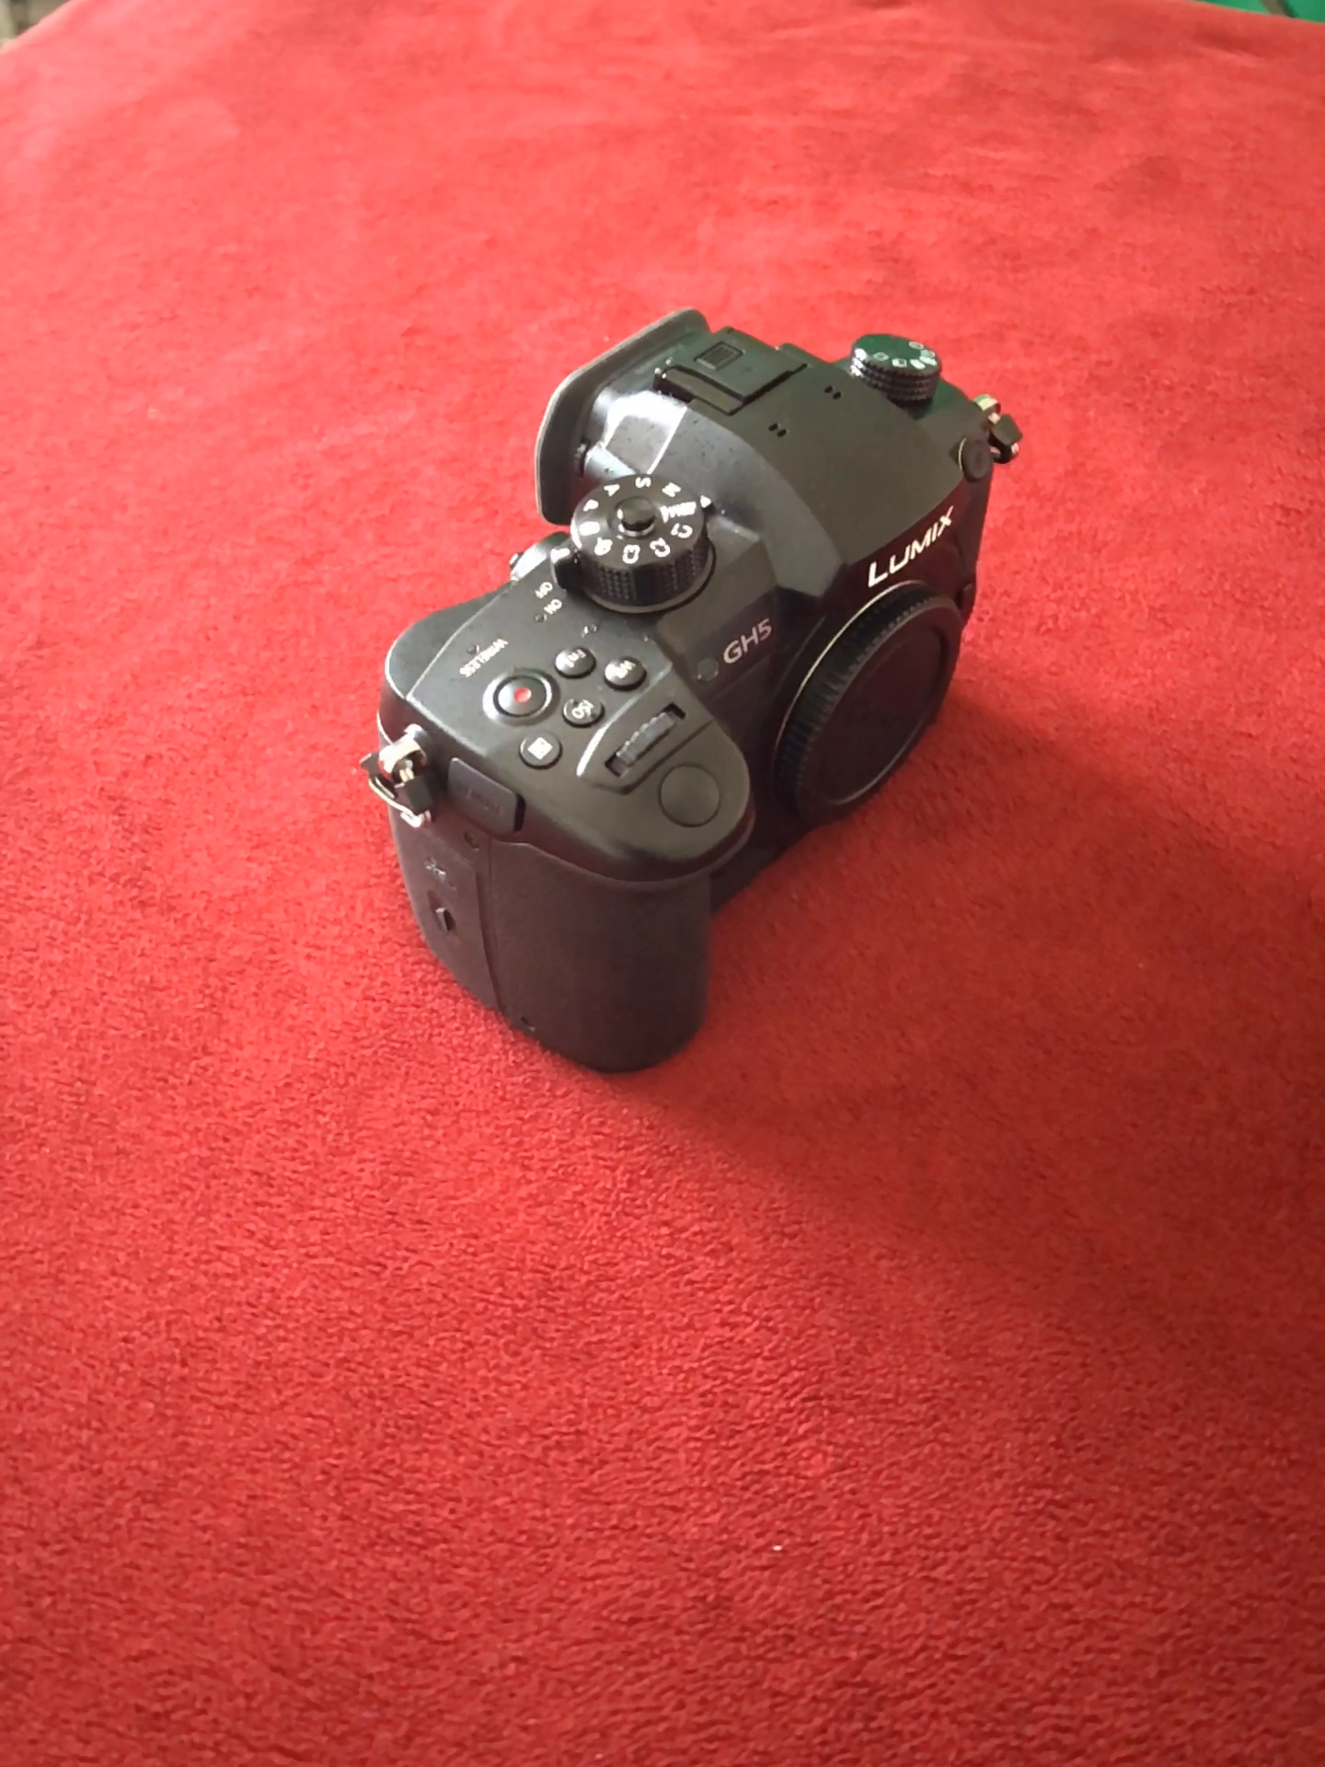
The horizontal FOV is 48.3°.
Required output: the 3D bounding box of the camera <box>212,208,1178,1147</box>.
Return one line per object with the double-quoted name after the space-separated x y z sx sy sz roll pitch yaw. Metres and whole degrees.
0.010 -0.045 0.283 0.086 0.087 0.148 37 61 25 "camera"
